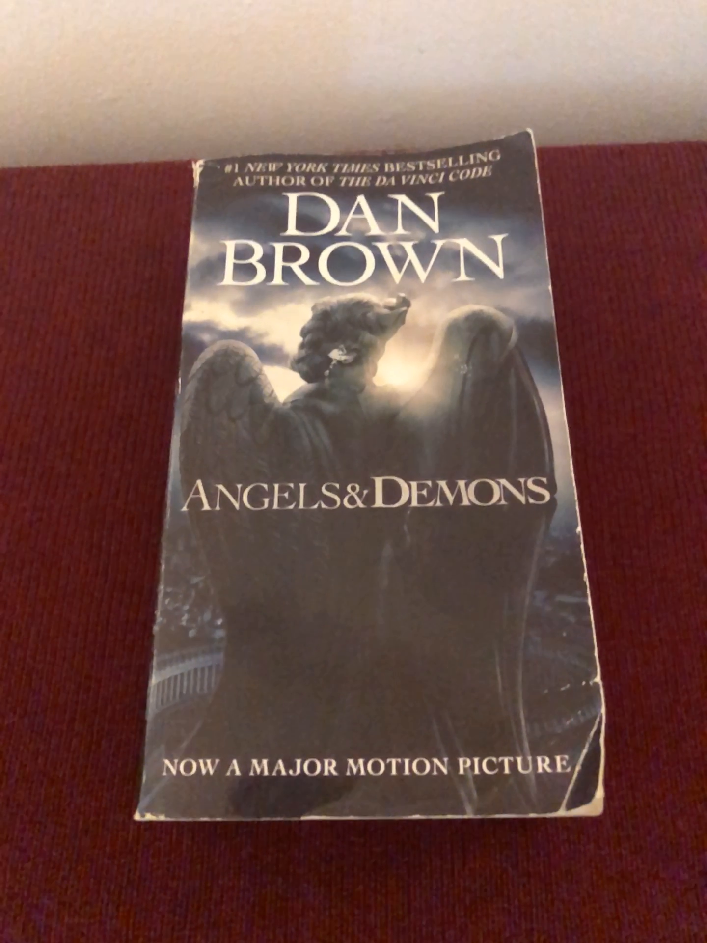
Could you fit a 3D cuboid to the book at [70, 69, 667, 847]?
[{"bbox_3d":[0.001,-0.014,0.218,0.120,0.040,0.211,-3,66,5],"label":"book"}]
